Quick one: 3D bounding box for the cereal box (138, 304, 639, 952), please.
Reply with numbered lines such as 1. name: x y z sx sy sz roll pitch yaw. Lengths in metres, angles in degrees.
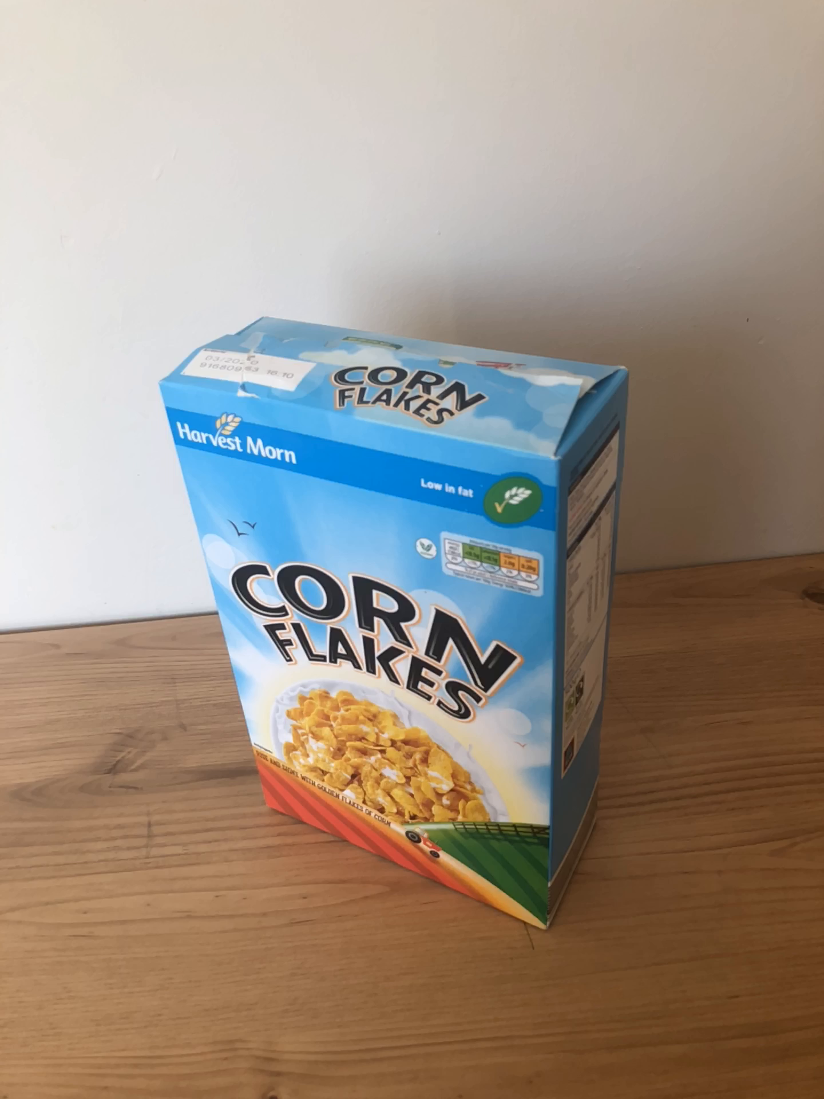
1. cereal box: -0.003 0.047 0.474 0.200 0.308 0.080 16 40 26
